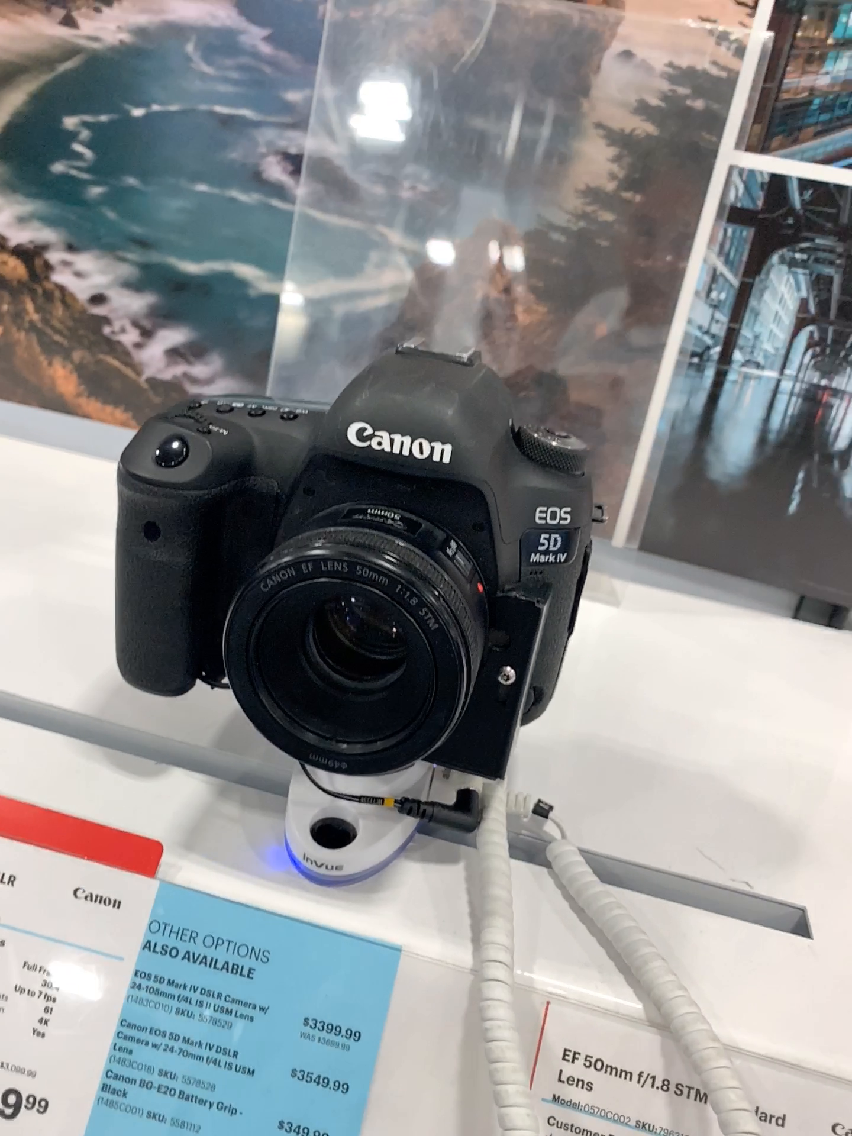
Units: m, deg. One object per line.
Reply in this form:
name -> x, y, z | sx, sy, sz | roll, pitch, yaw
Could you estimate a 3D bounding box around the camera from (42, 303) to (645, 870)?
camera -> -0.017, -0.007, 0.269 | 0.140, 0.106, 0.112 | 13, 25, 8
